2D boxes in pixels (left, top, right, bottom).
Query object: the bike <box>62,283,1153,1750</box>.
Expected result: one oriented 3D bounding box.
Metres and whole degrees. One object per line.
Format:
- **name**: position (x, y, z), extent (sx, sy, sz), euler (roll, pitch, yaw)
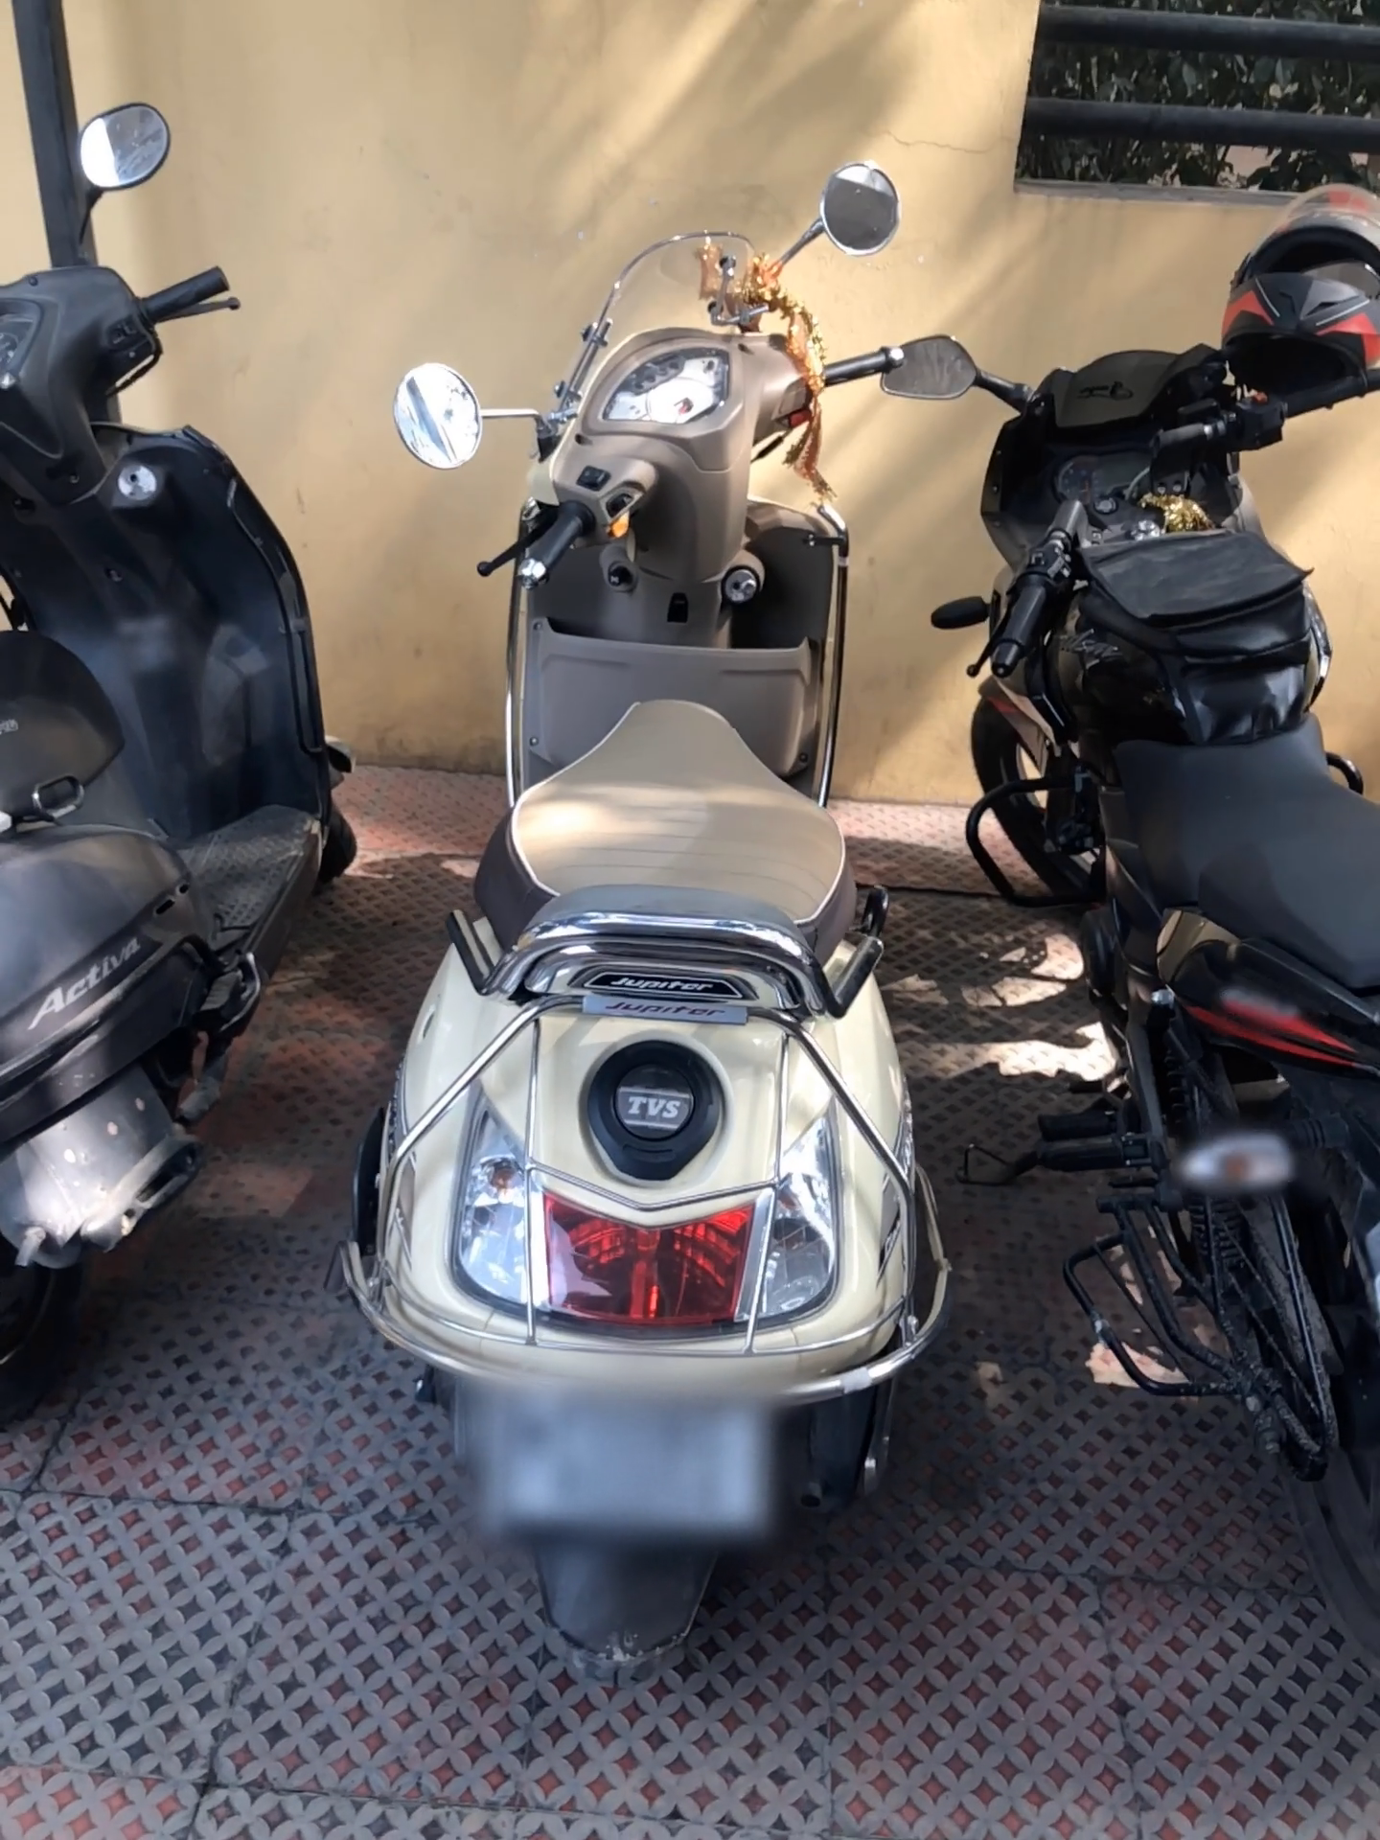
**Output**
- **bike**: position (-0.147, -0.090, 1.851), extent (0.644, 0.999, 1.635), euler (0, 32, -5)
